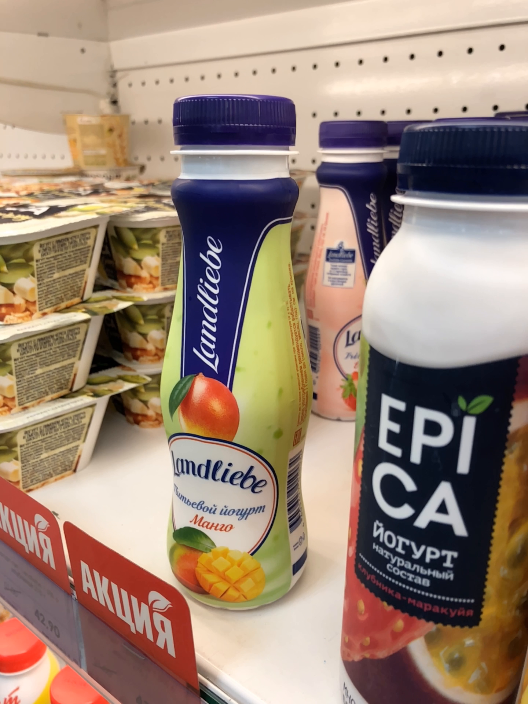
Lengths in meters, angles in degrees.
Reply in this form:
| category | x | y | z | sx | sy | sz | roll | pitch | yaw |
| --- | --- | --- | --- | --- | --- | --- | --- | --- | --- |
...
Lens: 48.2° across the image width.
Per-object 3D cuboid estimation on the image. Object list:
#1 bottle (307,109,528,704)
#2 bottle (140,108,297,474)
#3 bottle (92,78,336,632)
| category | x | y | z | sx | sy | sz | roll | pitch | yaw |
| --- | --- | --- | --- | --- | --- | --- | --- | --- | --- |
| bottle | 0.047 | 0.030 | 0.157 | 0.051 | 0.173 | 0.048 | -1 | 19 | 0 |
| bottle | -0.020 | -0.033 | 0.318 | 0.056 | 0.179 | 0.054 | -1 | 19 | 0 |
| bottle | -0.013 | 0.002 | 0.213 | 0.055 | 0.177 | 0.054 | -1 | 19 | 0 |
